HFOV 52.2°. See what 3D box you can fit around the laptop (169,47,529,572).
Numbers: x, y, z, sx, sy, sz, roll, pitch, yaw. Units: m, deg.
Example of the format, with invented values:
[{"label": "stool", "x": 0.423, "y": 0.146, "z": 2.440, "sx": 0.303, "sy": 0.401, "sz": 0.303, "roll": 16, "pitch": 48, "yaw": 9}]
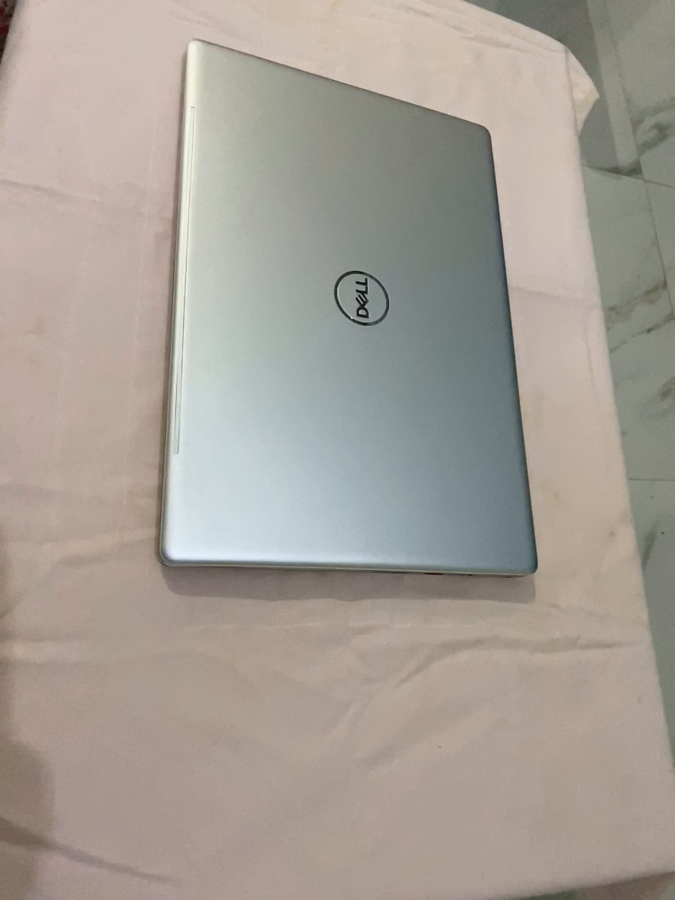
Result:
[{"label": "laptop", "x": 0.012, "y": -0.101, "z": 0.476, "sx": 0.236, "sy": 0.004, "sz": 0.359, "roll": 5, "pitch": 72, "yaw": -21}]
